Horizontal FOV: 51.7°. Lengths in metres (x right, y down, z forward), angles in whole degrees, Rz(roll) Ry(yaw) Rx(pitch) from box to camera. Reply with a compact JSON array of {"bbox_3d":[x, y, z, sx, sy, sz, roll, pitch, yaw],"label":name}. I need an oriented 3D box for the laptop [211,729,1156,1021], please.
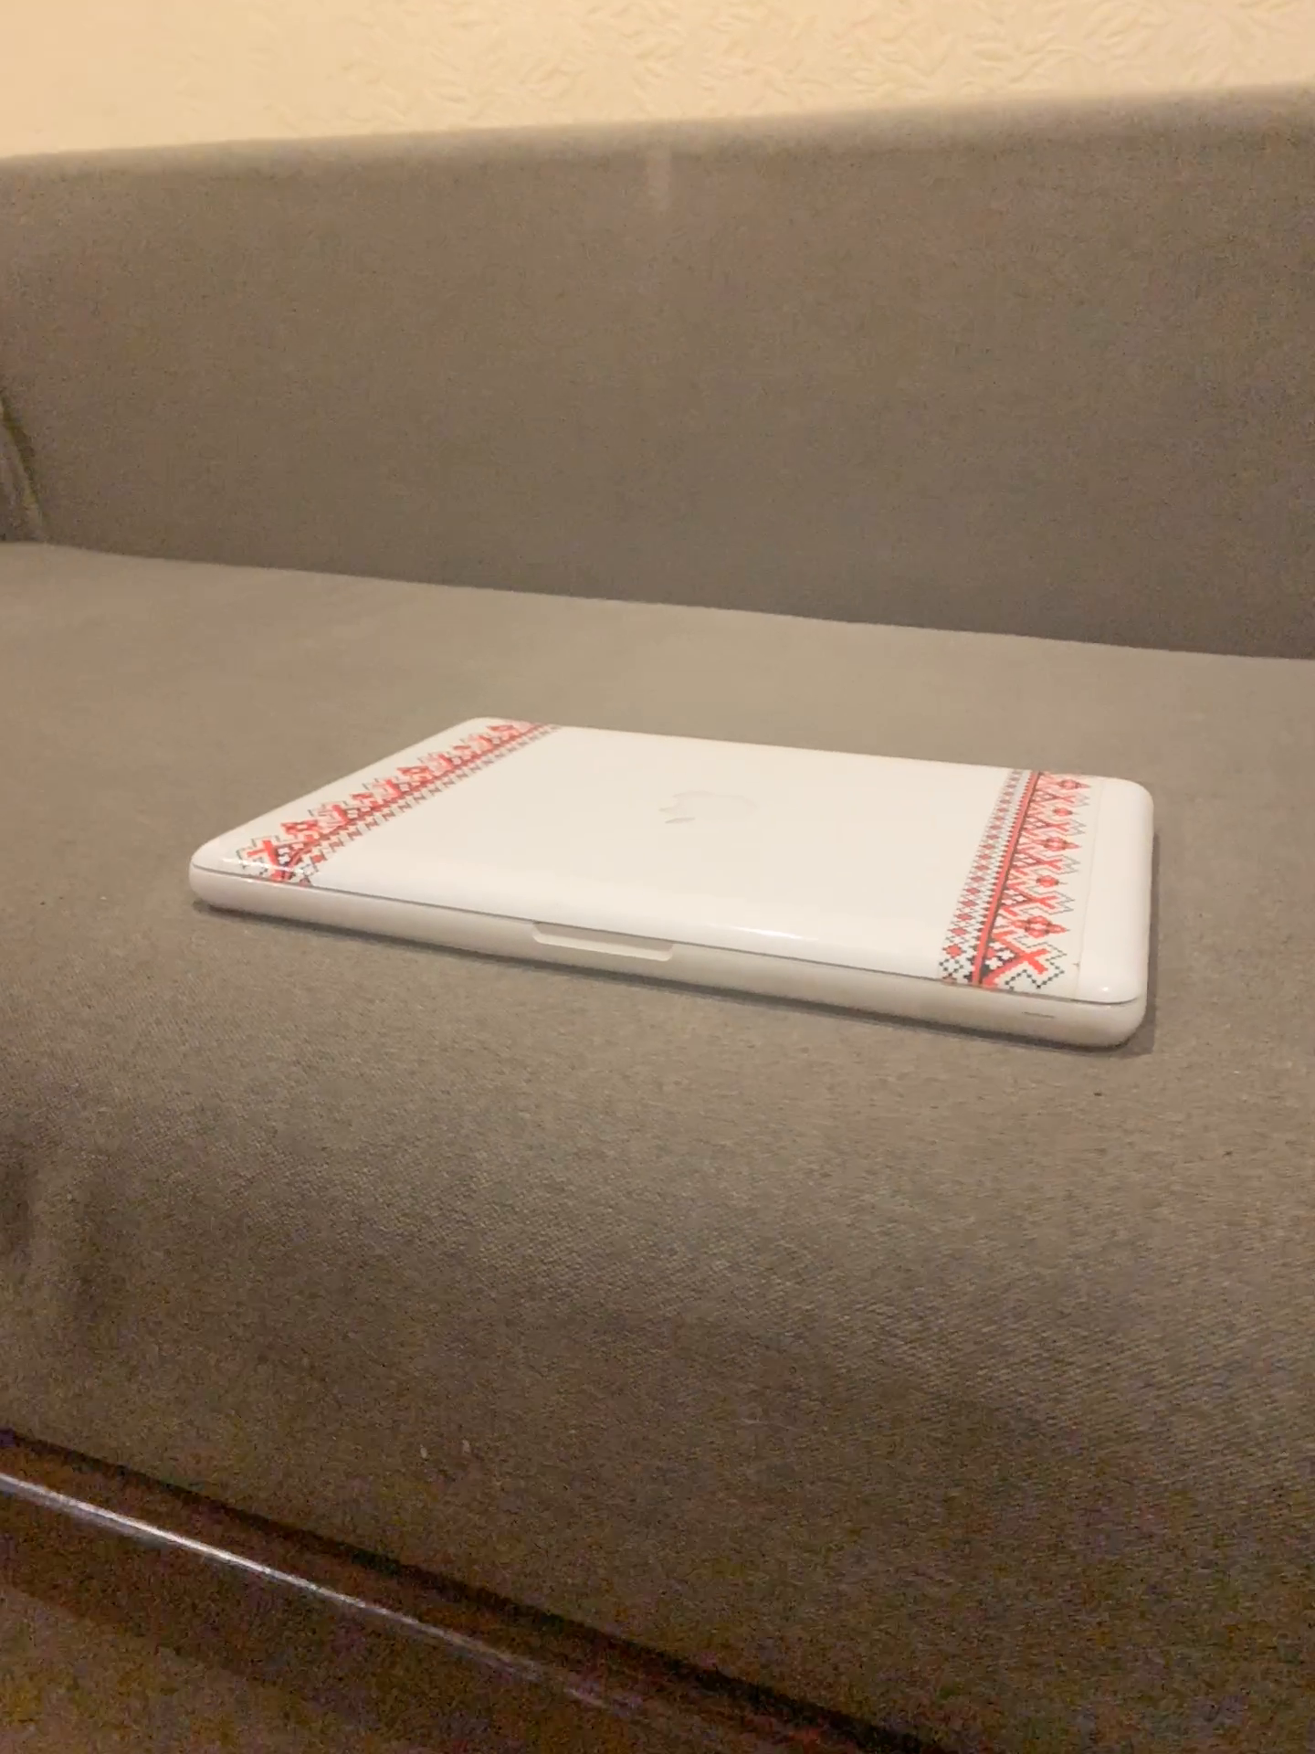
[{"bbox_3d":[0.028,-0.016,0.549,0.324,0.003,0.223,8,22,17],"label":"laptop"}]
